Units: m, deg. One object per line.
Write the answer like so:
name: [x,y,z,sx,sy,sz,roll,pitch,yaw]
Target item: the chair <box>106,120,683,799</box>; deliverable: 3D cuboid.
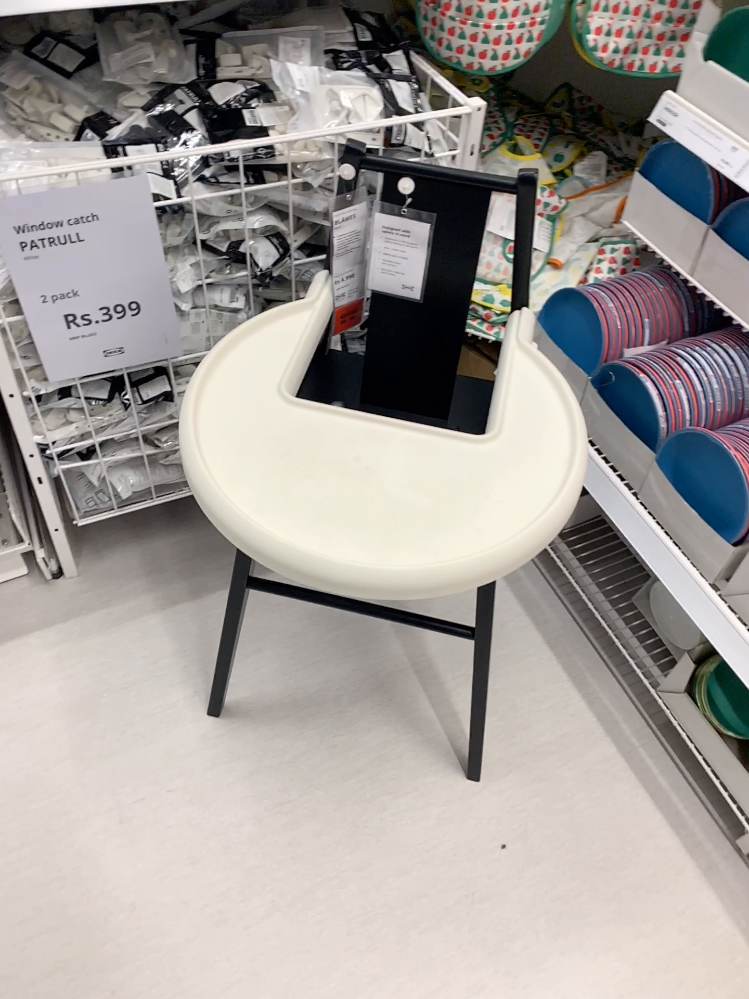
chair: [0.044,-0.018,1.153,0.530,0.777,0.552,13,50,6]
